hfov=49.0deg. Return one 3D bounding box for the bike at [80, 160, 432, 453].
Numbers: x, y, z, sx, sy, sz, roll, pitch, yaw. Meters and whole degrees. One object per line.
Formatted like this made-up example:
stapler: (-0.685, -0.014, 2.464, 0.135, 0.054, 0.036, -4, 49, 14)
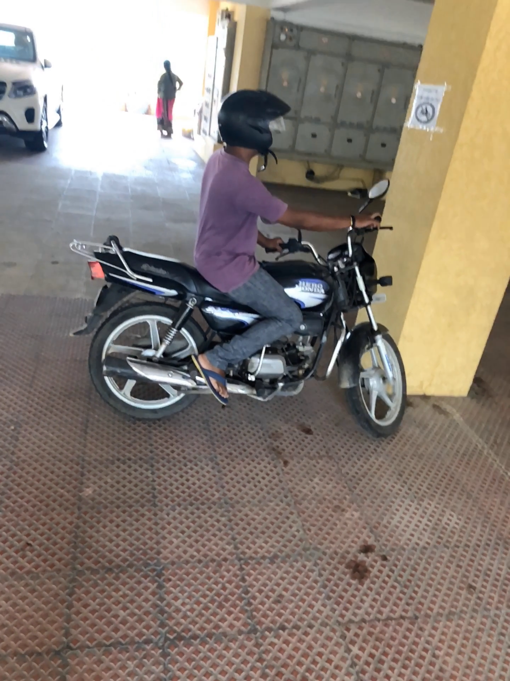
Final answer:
bike: (-0.068, -0.145, 2.974, 1.543, 1.195, 0.769, 4, 26, -15)
